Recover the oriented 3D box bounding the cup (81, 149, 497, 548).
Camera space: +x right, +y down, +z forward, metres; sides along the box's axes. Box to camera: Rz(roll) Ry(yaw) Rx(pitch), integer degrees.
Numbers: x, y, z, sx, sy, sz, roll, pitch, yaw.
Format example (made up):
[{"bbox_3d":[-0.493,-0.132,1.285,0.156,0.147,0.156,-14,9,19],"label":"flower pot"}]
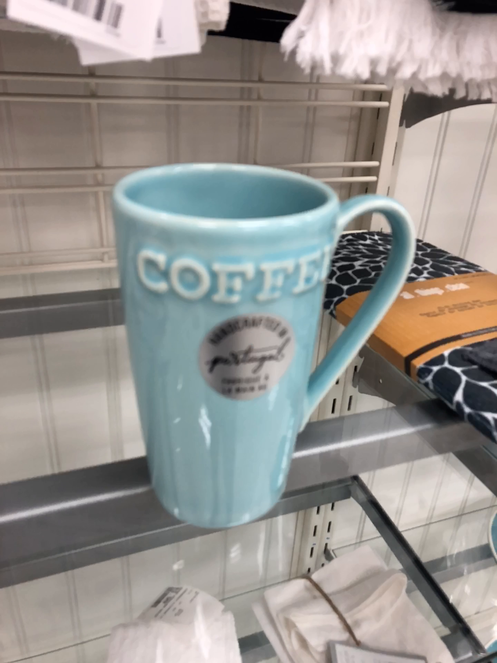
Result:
[{"bbox_3d":[0.008,0.003,0.235,0.130,0.139,0.091,-1,28,-7],"label":"cup"}]
